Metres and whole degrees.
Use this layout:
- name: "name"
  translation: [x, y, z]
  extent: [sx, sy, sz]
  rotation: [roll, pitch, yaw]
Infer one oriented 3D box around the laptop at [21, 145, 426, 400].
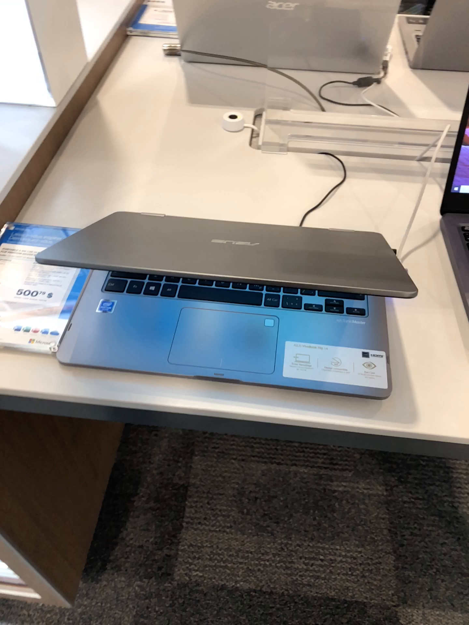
- name: "laptop"
  translation: [-0.002, -0.051, 0.516]
  extent: [0.321, 0.105, 0.215]
  rotation: [6, 49, 5]
